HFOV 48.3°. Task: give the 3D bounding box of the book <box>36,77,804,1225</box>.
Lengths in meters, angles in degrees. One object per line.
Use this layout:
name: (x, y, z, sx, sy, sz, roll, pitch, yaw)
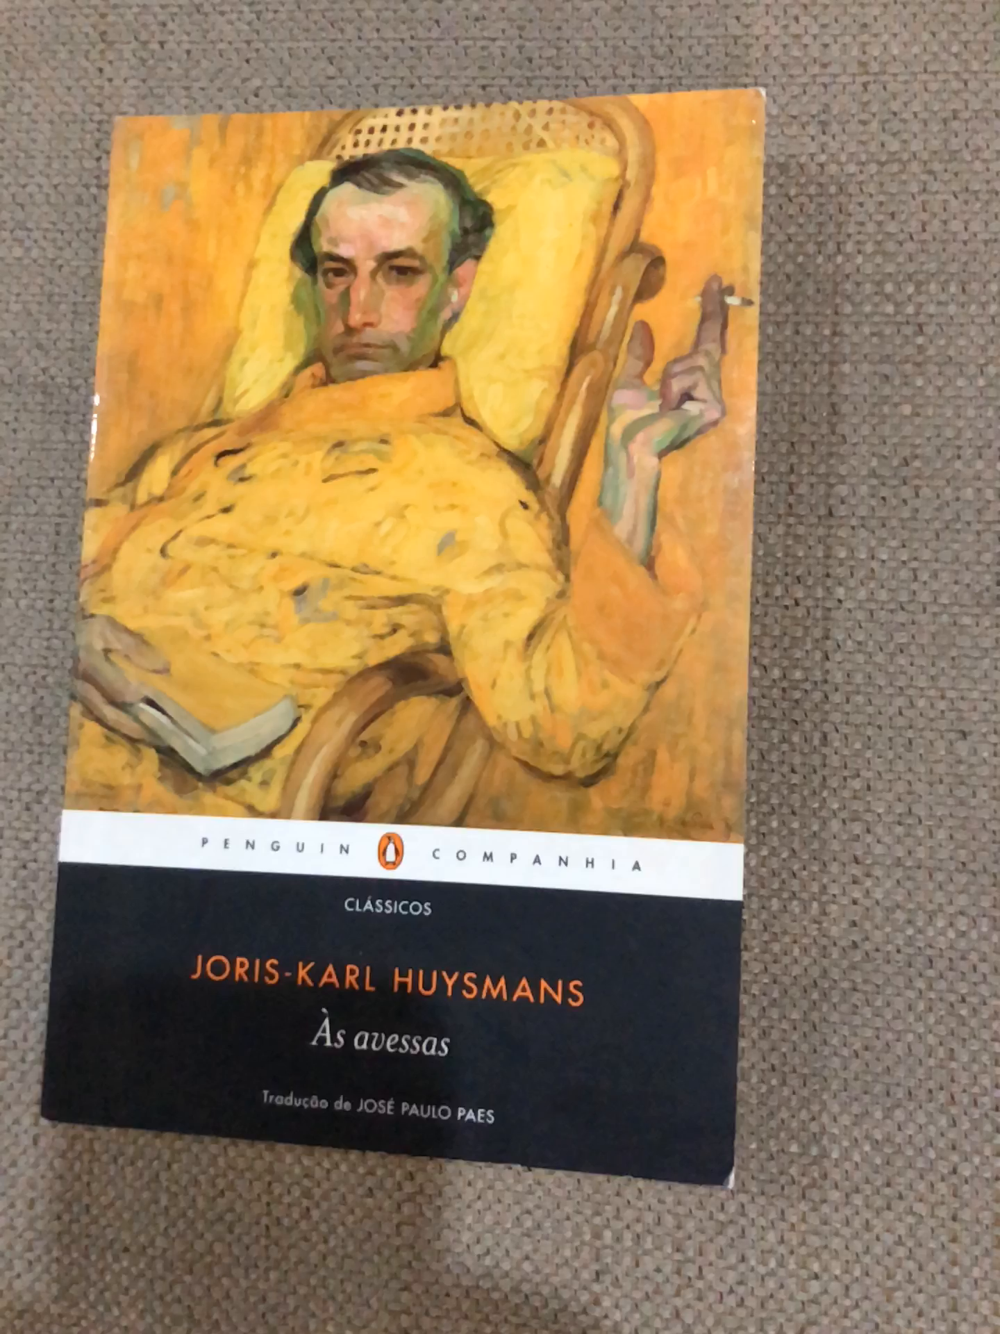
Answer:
book: (-0.014, -0.008, 0.212, 0.130, 0.023, 0.195, 2, 86, 10)
